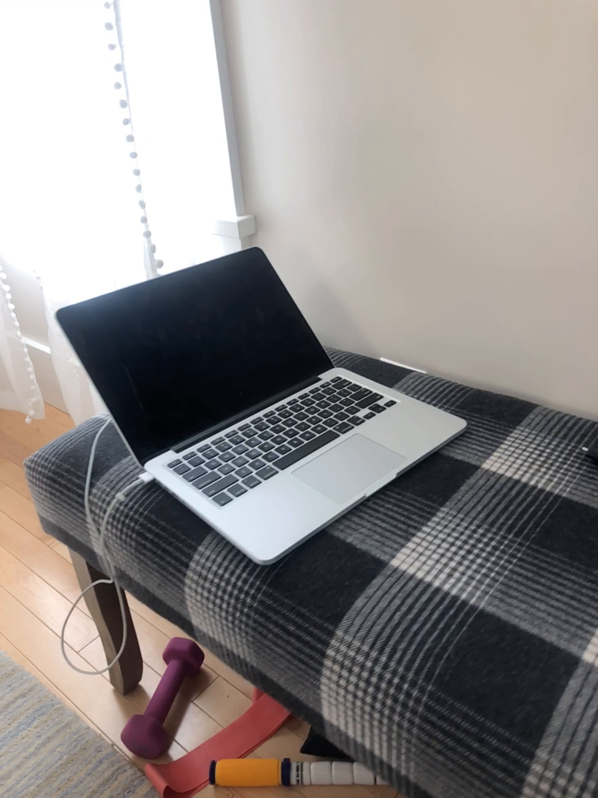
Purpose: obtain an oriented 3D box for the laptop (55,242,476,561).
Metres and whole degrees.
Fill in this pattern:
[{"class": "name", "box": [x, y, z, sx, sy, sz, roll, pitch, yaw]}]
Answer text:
[{"class": "laptop", "box": [-0.044, -0.040, 0.755, 0.307, 0.142, 0.367, -27, 37, -34]}]
